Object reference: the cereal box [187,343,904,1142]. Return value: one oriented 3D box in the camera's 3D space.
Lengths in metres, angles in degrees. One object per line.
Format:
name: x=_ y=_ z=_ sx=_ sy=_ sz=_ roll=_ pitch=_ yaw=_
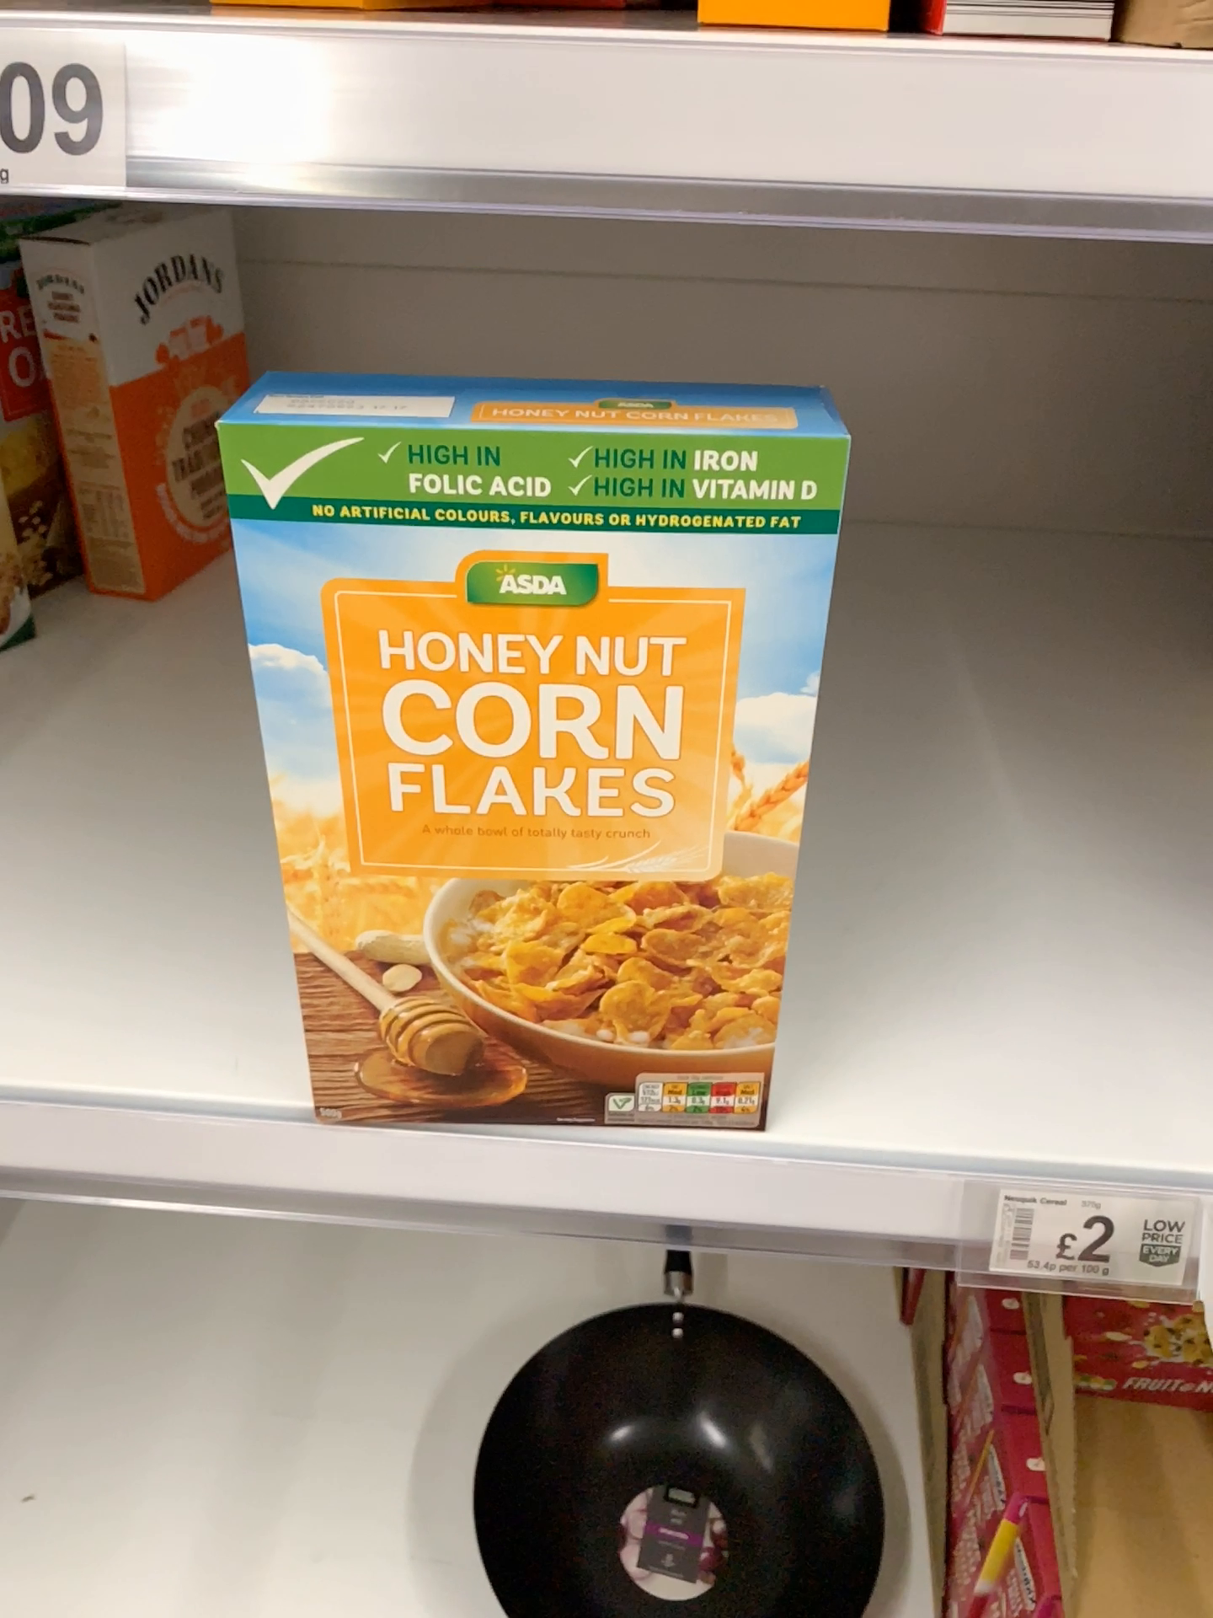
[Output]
cereal box: x=-0.020 y=-0.009 z=0.457 sx=0.200 sy=0.287 sz=0.071 roll=2 pitch=33 yaw=0
